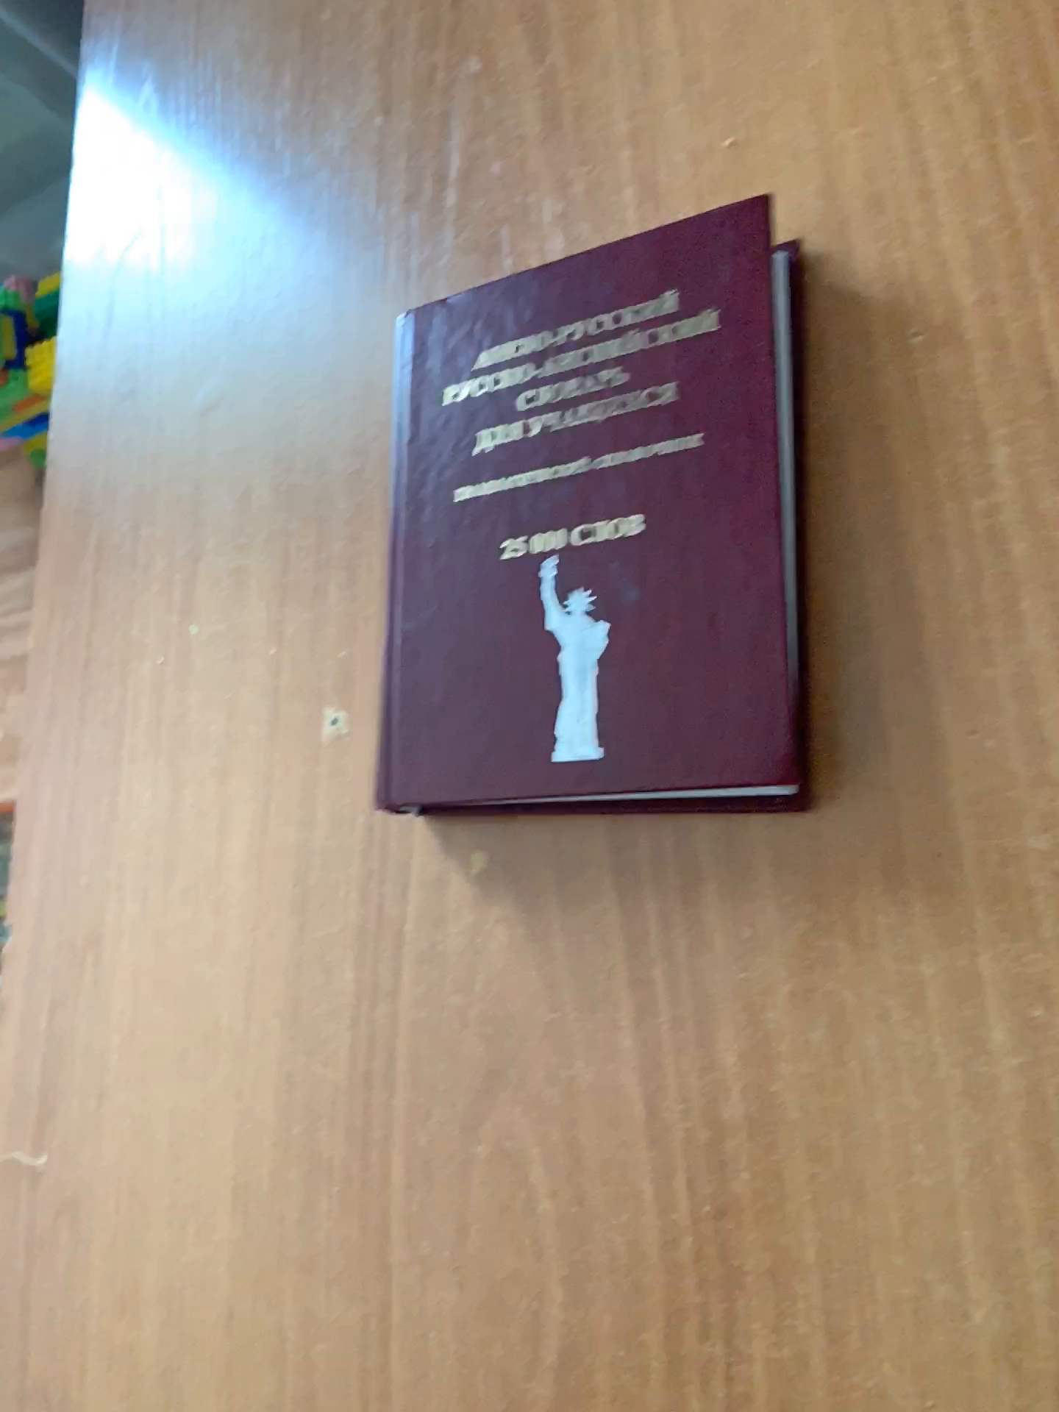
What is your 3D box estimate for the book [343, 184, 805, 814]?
[{"bbox_3d":[0.009,-0.054,0.325,0.135,0.023,0.166,-5,77,29],"label":"book"}]
